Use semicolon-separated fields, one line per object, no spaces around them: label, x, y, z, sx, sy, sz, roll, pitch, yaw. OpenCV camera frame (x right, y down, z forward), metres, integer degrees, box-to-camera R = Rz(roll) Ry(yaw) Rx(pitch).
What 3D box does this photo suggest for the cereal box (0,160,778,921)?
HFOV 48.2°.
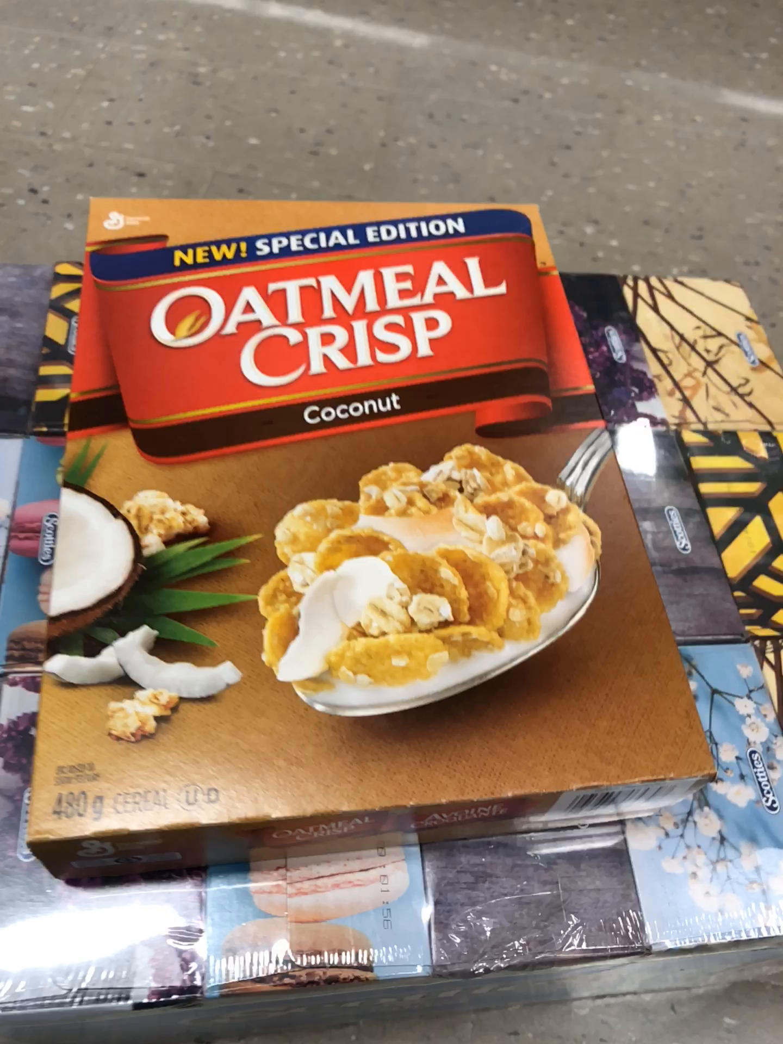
cereal box;-0.019;-0.024;0.326;0.210;0.060;0.291;-3;54;-5
